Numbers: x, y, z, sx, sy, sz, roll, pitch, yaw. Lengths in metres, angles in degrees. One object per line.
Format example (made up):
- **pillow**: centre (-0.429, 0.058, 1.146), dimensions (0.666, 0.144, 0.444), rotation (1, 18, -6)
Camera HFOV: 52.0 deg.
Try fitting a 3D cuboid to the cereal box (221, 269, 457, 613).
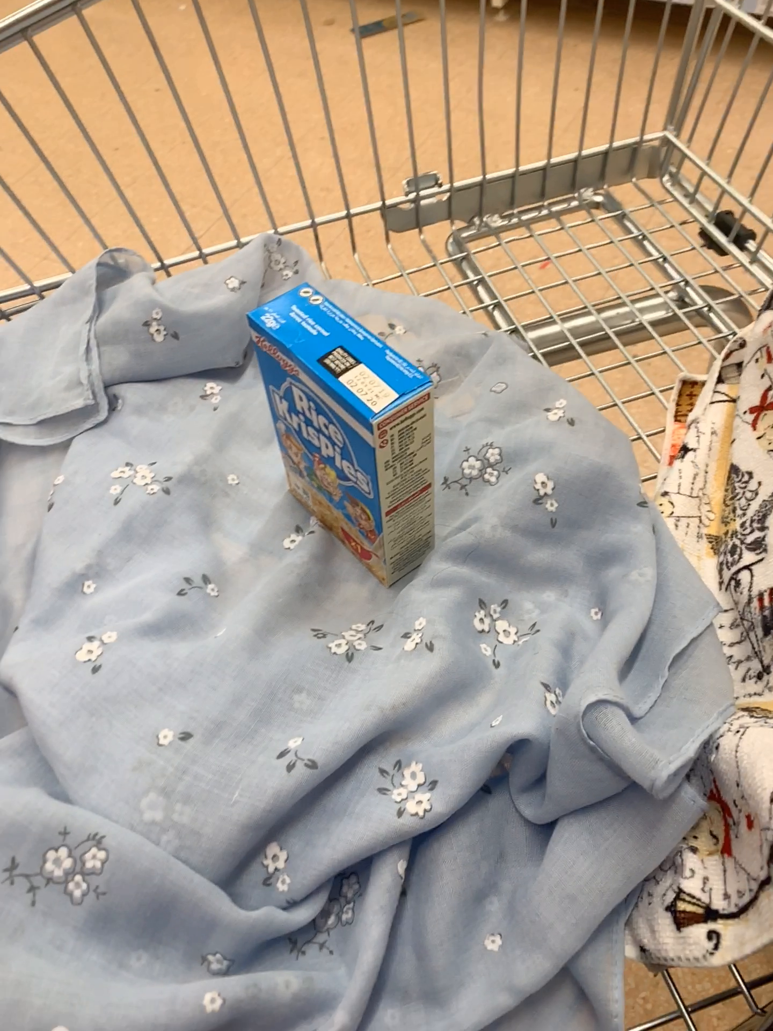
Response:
- **cereal box**: centre (-0.017, -0.031, 0.383), dimensions (0.040, 0.139, 0.101), rotation (-38, 59, -19)
